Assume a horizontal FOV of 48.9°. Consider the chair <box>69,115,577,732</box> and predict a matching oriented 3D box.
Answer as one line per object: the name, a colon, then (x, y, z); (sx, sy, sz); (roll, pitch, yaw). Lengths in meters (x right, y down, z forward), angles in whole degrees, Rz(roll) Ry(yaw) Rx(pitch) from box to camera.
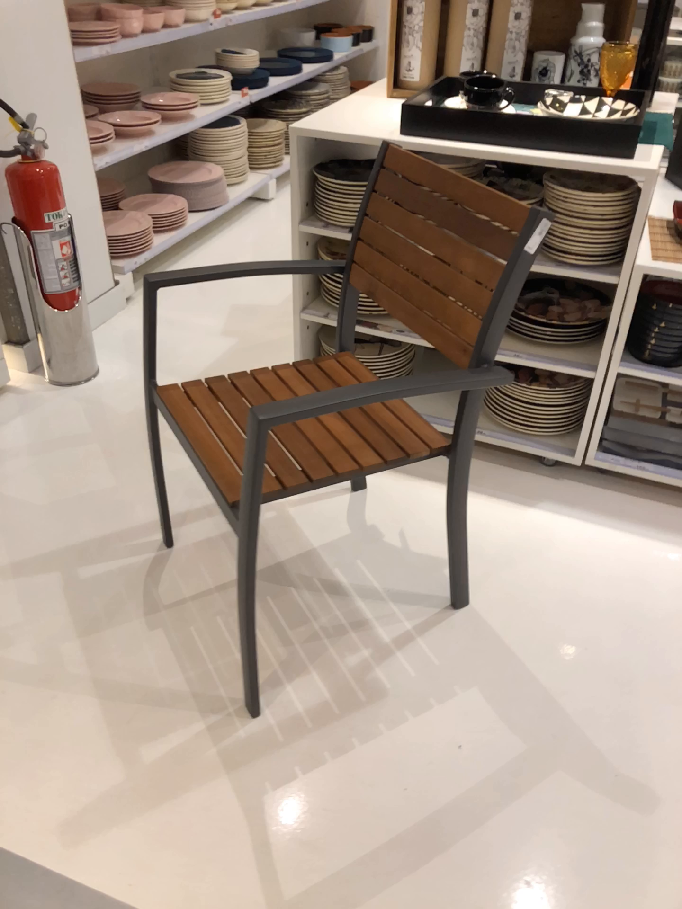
chair: (-0.068, -0.091, 1.314); (0.531, 0.784, 0.594); (-16, 39, -22)
